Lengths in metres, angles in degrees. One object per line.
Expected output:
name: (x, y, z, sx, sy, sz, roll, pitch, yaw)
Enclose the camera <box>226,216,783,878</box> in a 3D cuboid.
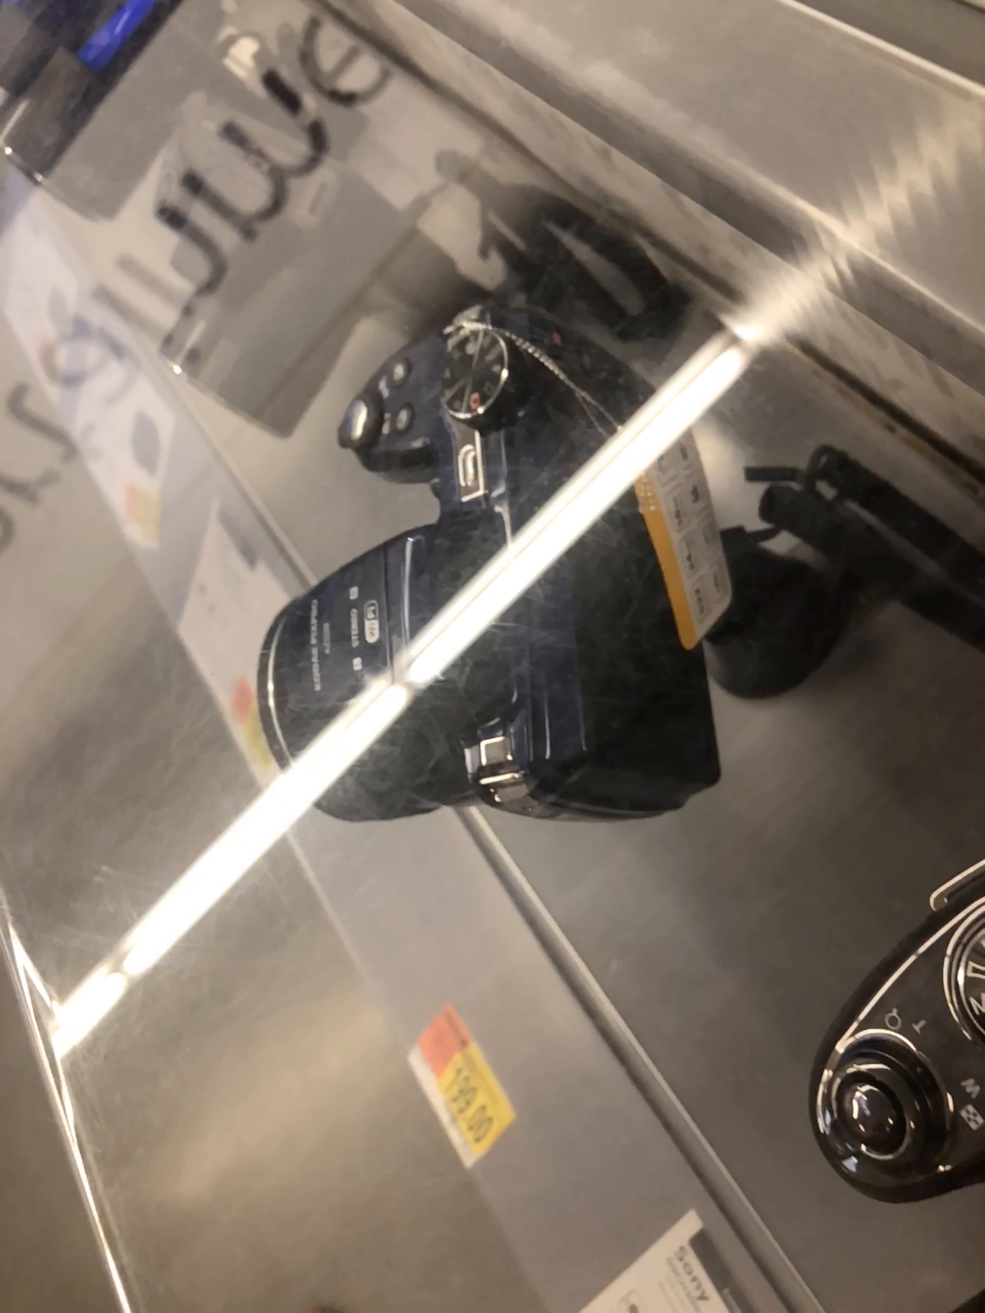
camera: (0.002, -0.019, 0.294, 0.110, 0.080, 0.130, -15, 65, 30)
